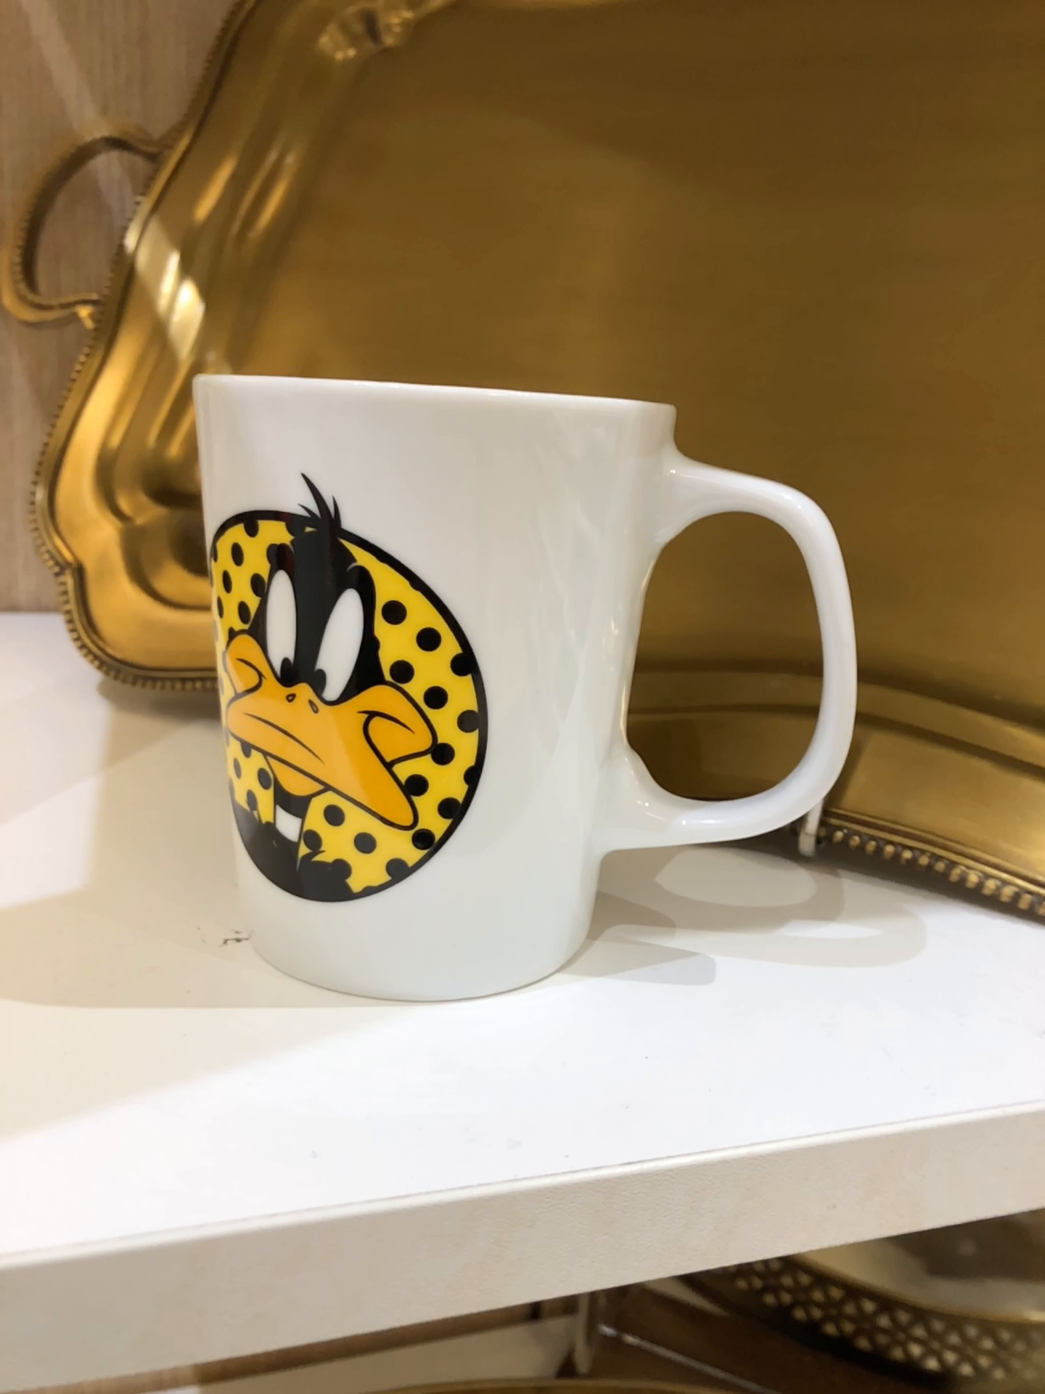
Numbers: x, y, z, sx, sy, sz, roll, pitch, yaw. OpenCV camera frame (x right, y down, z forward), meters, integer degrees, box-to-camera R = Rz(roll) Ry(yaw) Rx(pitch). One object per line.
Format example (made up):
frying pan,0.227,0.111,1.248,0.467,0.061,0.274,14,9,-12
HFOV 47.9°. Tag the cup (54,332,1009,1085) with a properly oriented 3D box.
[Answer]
cup,0.003,-0.009,0.198,0.120,0.090,0.090,6,14,10
